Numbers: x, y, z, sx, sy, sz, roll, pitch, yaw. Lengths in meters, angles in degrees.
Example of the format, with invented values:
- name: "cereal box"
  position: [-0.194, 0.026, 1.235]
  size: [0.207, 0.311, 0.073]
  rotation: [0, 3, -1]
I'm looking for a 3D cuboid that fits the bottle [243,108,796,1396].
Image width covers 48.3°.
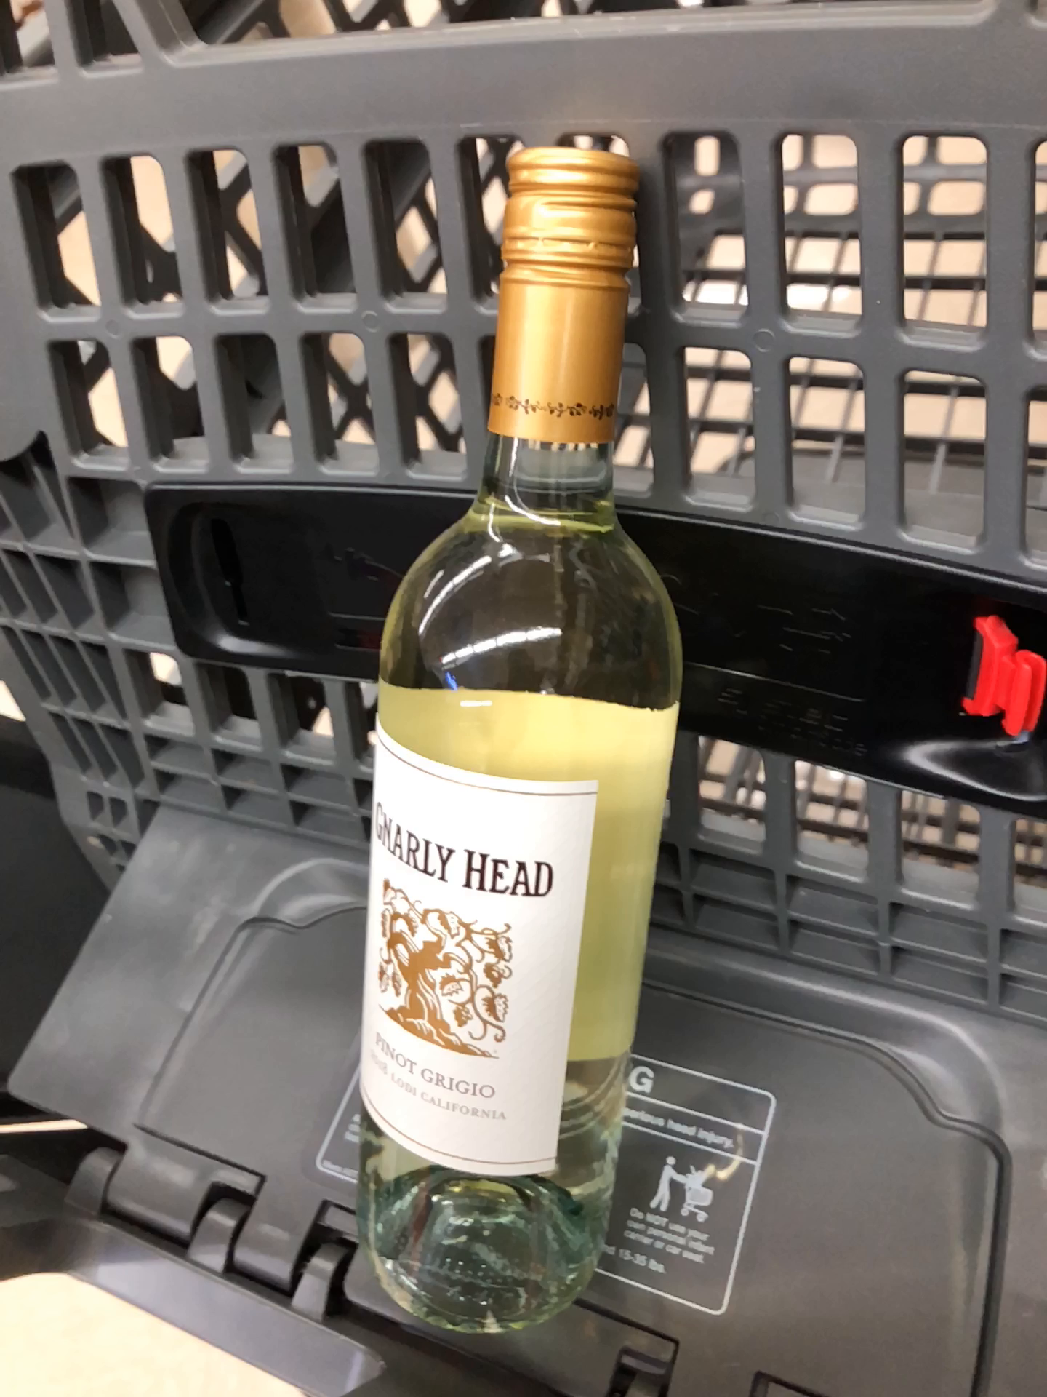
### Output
- name: "bottle"
  position: [-0.007, 0.017, 0.287]
  size: [0.080, 0.070, 0.280]
  rotation: [15, 107, 25]
